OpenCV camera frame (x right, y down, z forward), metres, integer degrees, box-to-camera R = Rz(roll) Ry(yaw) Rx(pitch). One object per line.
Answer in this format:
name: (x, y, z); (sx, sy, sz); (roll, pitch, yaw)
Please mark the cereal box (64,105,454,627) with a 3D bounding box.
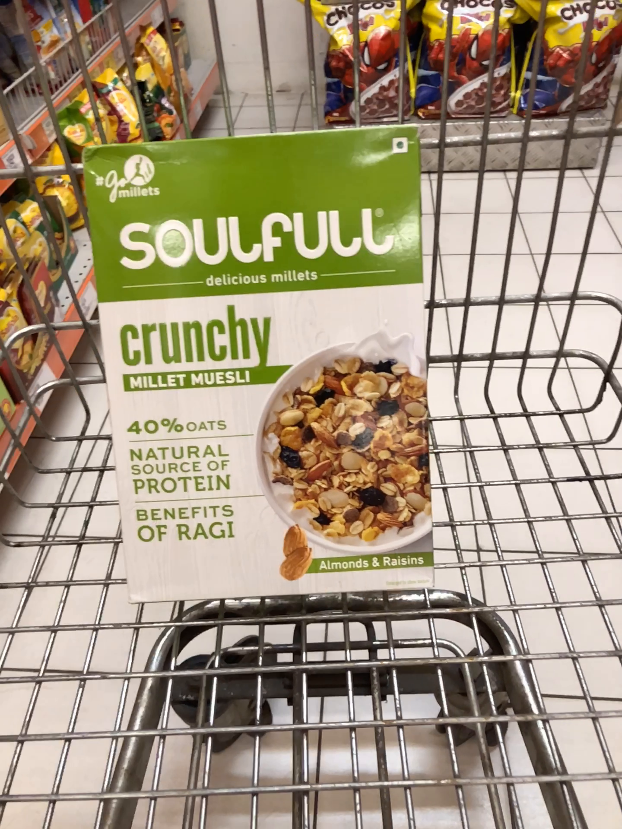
cereal box: (-0.020, -0.022, 0.361); (0.170, 0.240, 0.070); (-3, 8, 1)
